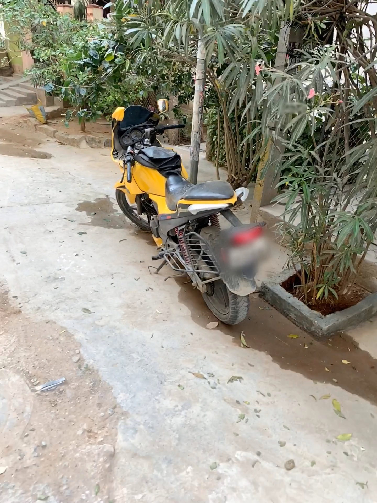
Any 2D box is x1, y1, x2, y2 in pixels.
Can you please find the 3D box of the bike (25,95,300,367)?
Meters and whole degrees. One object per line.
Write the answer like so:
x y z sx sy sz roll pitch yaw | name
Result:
-0.351 -0.318 2.518 0.853 0.954 1.752 -12 35 -30 | bike
